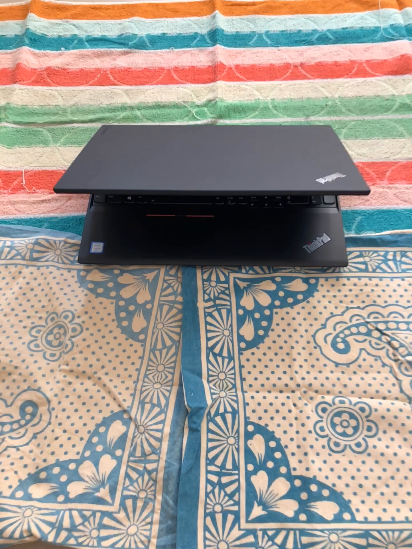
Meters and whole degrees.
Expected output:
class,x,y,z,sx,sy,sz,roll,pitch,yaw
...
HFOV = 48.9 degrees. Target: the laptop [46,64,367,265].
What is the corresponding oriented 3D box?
class,x,y,z,sx,sy,sz,roll,pitch,yaw
laptop,0.008,-0.148,0.602,0.345,0.121,0.244,1,61,0
